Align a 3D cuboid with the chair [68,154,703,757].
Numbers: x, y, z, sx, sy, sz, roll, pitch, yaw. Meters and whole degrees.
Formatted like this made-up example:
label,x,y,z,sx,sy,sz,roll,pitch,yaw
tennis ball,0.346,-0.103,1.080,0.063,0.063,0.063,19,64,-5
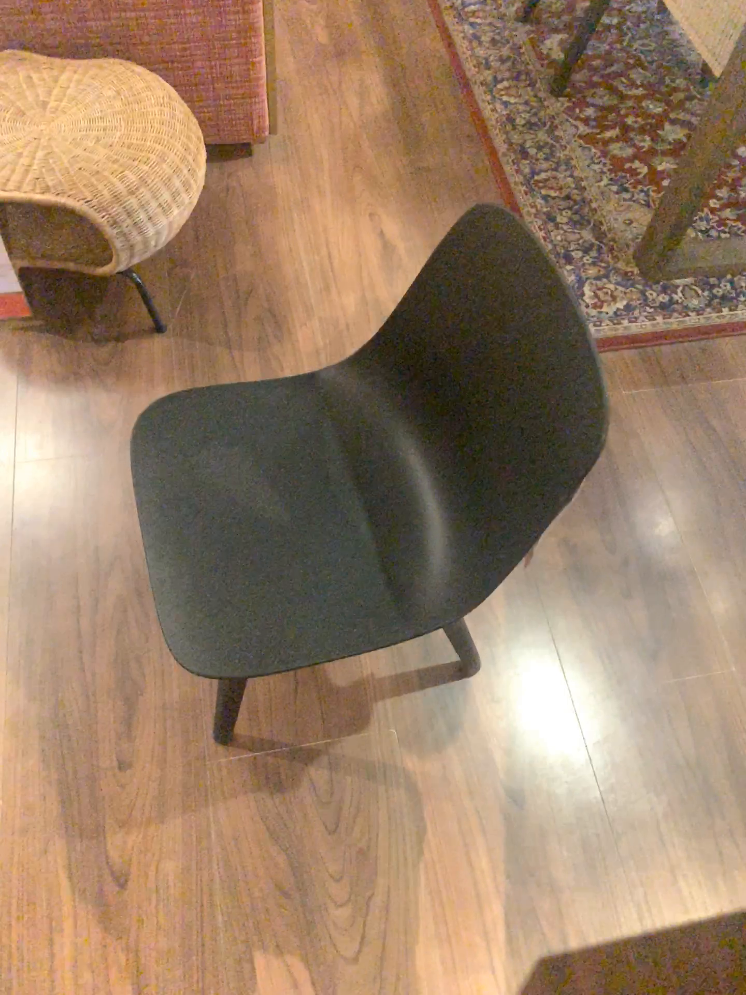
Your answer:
label,x,y,z,sx,sy,sz,roll,pitch,yaw
chair,-0.034,0.006,1.064,0.530,0.719,0.441,-12,63,-11
